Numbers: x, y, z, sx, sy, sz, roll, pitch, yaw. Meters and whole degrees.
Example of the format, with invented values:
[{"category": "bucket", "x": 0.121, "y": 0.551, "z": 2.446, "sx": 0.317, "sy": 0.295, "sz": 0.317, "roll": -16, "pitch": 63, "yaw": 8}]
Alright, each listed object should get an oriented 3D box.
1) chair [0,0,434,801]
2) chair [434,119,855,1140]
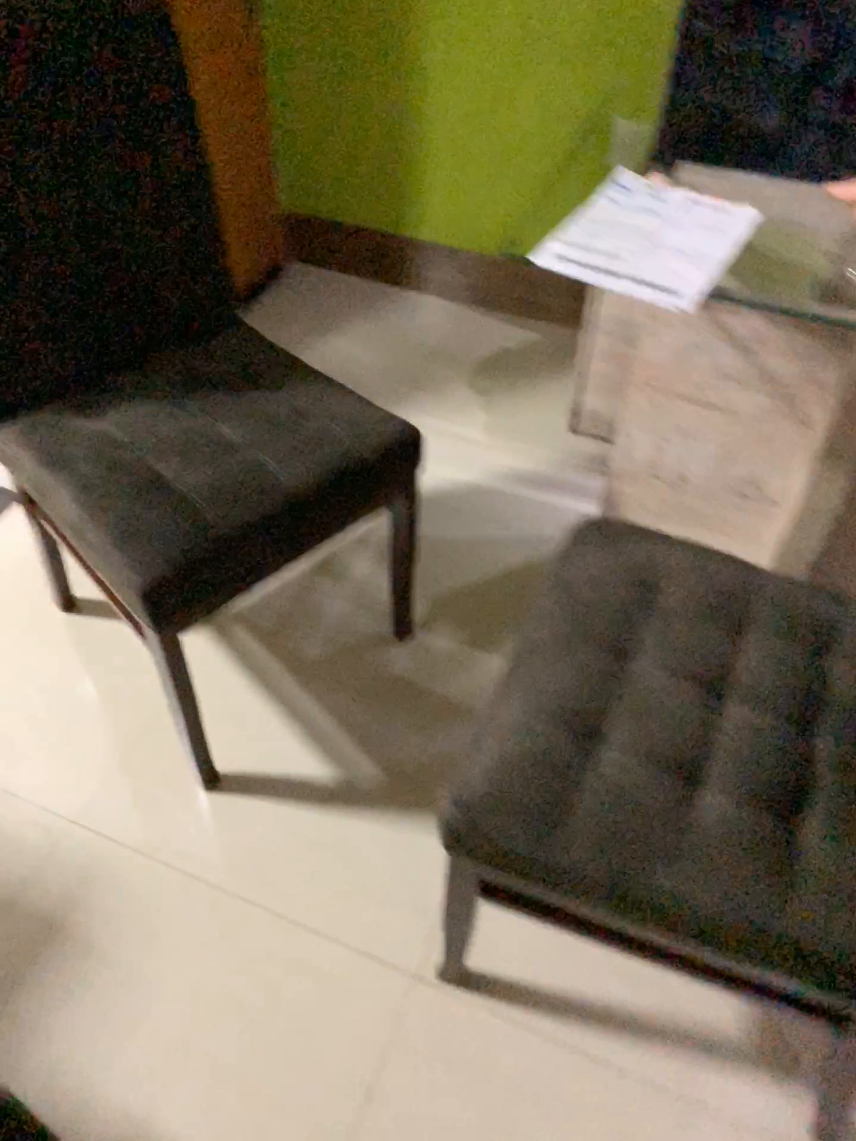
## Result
[{"category": "chair", "x": -0.382, "y": -0.245, "z": 1.305, "sx": 0.572, "sy": 0.981, "sz": 0.493, "roll": 36, "pitch": 54, "yaw": 28}, {"category": "chair", "x": 0.385, "y": 0.151, "z": 0.961, "sx": 0.571, "sy": 0.971, "sz": 0.524, "roll": 18, "pitch": 48, "yaw": 15}]
